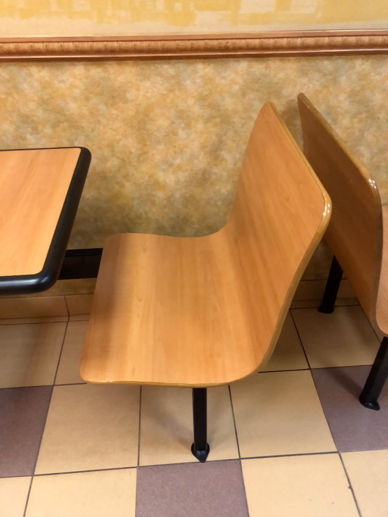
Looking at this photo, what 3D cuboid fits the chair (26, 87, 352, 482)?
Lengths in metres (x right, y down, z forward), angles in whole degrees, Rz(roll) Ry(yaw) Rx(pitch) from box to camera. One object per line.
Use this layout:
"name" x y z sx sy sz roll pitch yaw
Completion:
"chair" -0.018 0.077 1.181 0.510 0.884 0.634 -2 38 -2
